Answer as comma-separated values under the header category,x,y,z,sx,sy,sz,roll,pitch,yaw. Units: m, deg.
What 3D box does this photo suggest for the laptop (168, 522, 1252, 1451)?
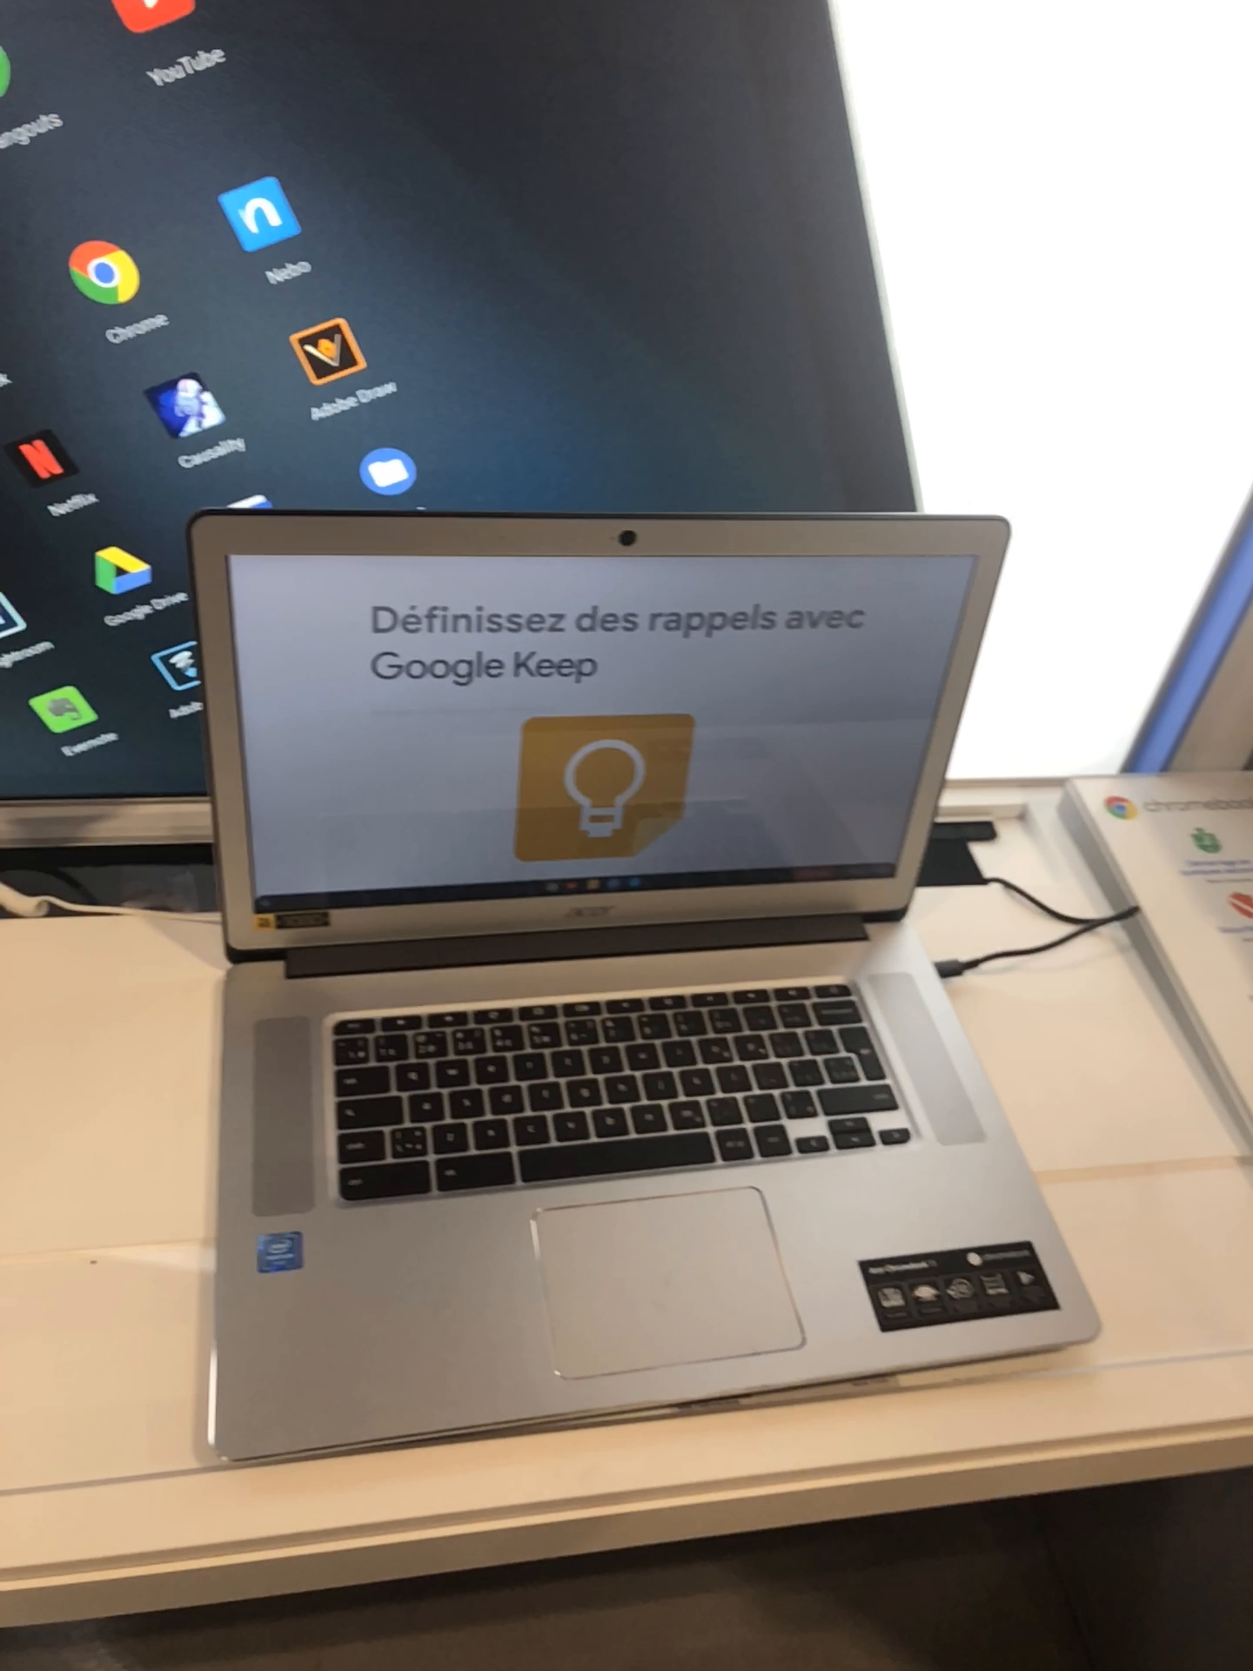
category,x,y,z,sx,sy,sz,roll,pitch,yaw
laptop,0.013,0.047,0.599,0.371,0.242,0.283,-3,43,-14
